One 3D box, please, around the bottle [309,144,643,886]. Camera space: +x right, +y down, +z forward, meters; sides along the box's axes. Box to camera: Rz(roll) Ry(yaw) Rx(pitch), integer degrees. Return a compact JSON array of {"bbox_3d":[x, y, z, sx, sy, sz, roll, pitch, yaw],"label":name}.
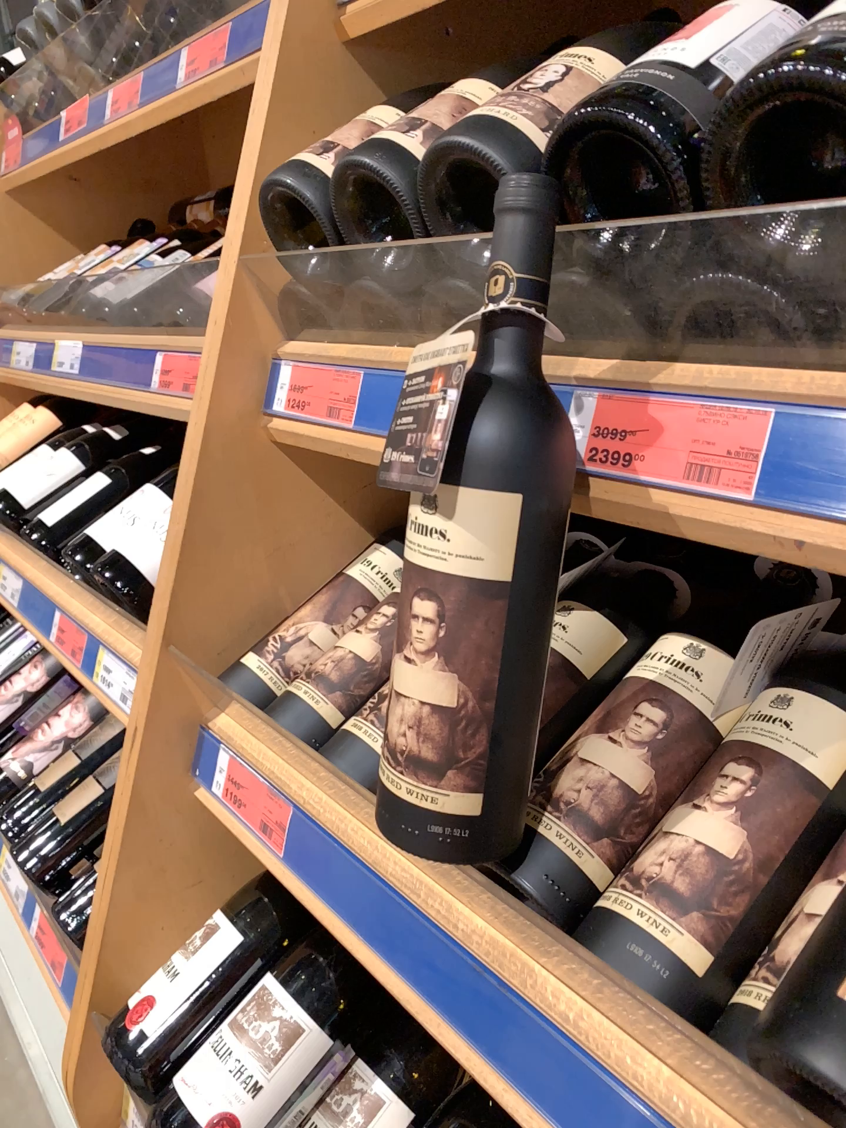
[{"bbox_3d":[0.017,-0.019,0.403,0.081,0.300,0.087,6,12,-1],"label":"bottle"}]
